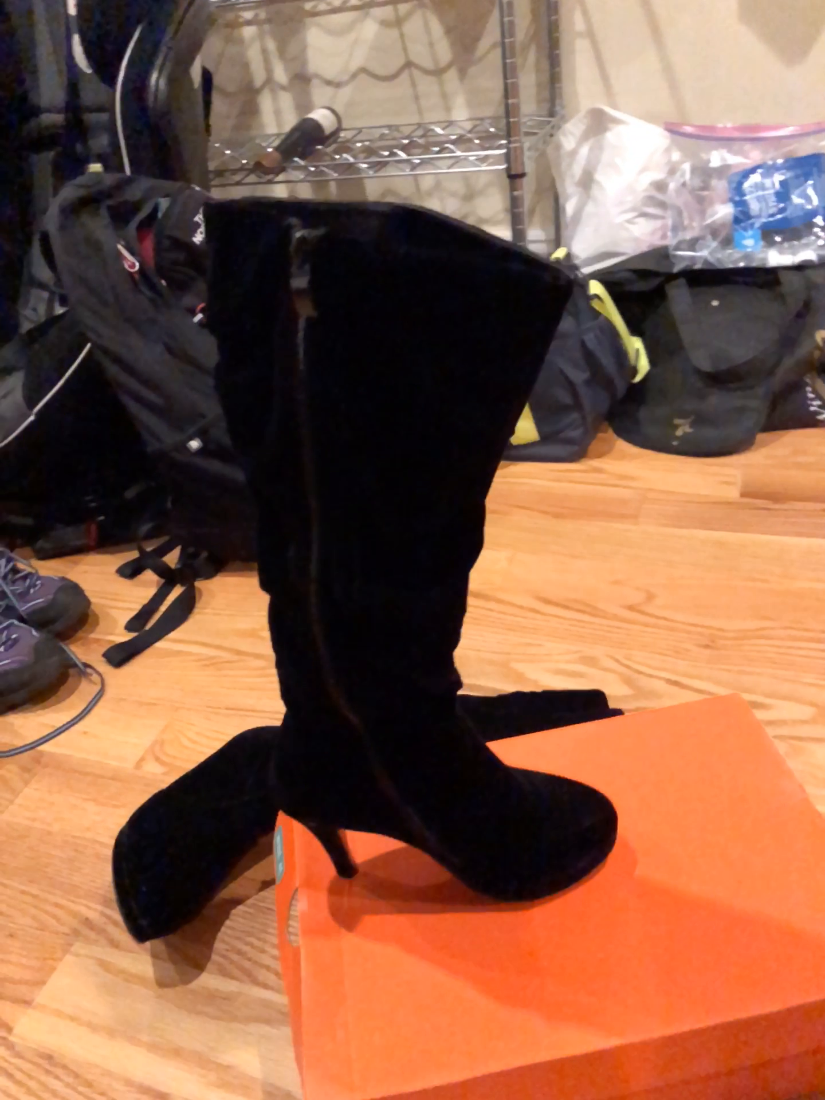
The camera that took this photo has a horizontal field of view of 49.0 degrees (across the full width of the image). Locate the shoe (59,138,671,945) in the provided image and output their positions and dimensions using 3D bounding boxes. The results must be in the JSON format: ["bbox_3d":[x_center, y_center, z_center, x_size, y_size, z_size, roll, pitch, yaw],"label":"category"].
[{"bbox_3d":[0.003,0.026,0.461,0.216,0.397,0.090,-8,32,0],"label":"shoe"}]

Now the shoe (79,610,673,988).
[{"bbox_3d":[-0.030,0.178,0.708,0.399,0.089,0.207,-11,31,-5],"label":"shoe"}]
